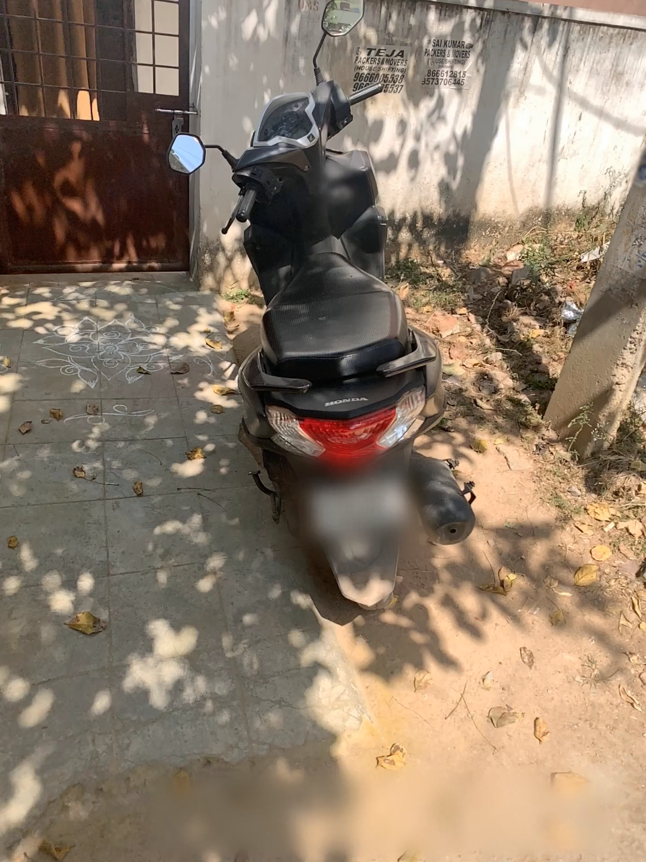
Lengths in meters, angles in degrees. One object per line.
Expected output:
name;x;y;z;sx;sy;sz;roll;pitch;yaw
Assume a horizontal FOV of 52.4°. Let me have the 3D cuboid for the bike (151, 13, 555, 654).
bike;-0.156;-0.405;1.924;0.606;1.176;1.515;-1;35;-14
